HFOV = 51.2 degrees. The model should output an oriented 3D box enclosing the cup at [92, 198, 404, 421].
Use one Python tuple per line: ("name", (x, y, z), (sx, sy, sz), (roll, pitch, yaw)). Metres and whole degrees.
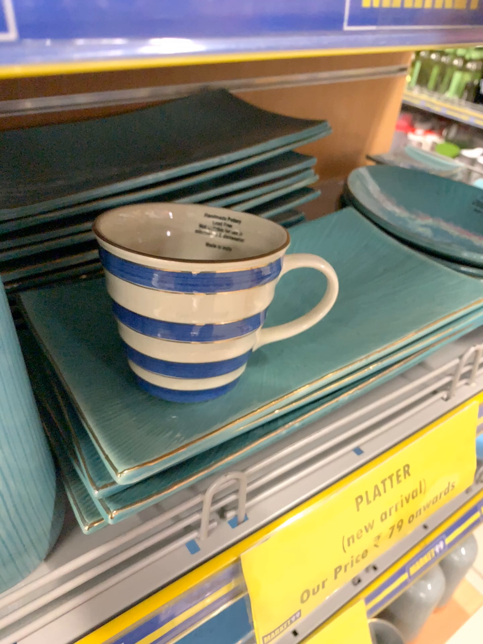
("cup", (-0.006, -0.017, 0.285), (0.140, 0.080, 0.100), (-5, 29, -20))
